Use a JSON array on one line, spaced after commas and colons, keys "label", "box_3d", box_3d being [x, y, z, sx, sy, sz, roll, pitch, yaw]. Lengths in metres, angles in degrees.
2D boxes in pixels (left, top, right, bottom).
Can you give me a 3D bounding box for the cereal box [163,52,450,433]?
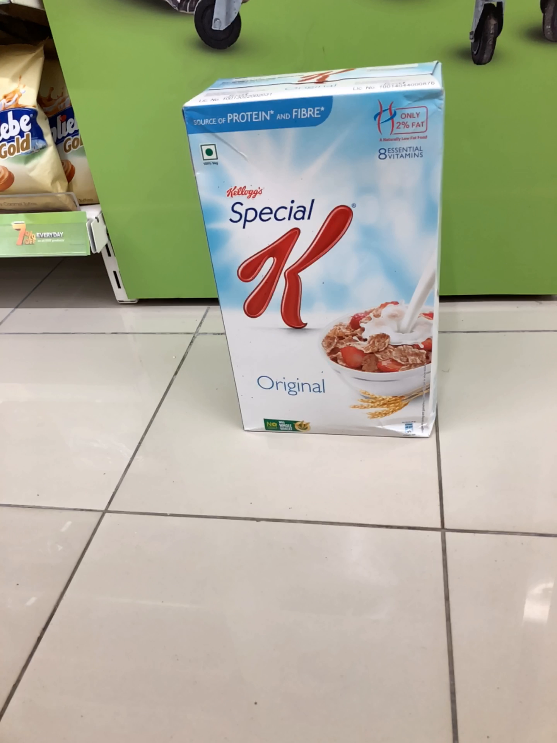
[{"label": "cereal box", "box_3d": [0.039, -0.098, 0.549, 0.200, 0.308, 0.101, 1, 36, 12]}]
